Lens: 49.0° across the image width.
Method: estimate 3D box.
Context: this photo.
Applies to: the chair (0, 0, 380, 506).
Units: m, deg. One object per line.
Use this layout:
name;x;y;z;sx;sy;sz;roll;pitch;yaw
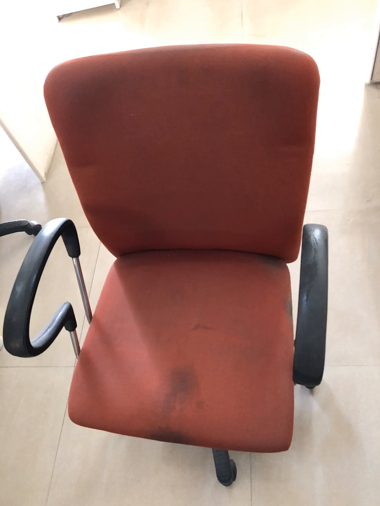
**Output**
chair;-0.001;0.134;1.041;0.770;1.046;0.703;3;58;15
